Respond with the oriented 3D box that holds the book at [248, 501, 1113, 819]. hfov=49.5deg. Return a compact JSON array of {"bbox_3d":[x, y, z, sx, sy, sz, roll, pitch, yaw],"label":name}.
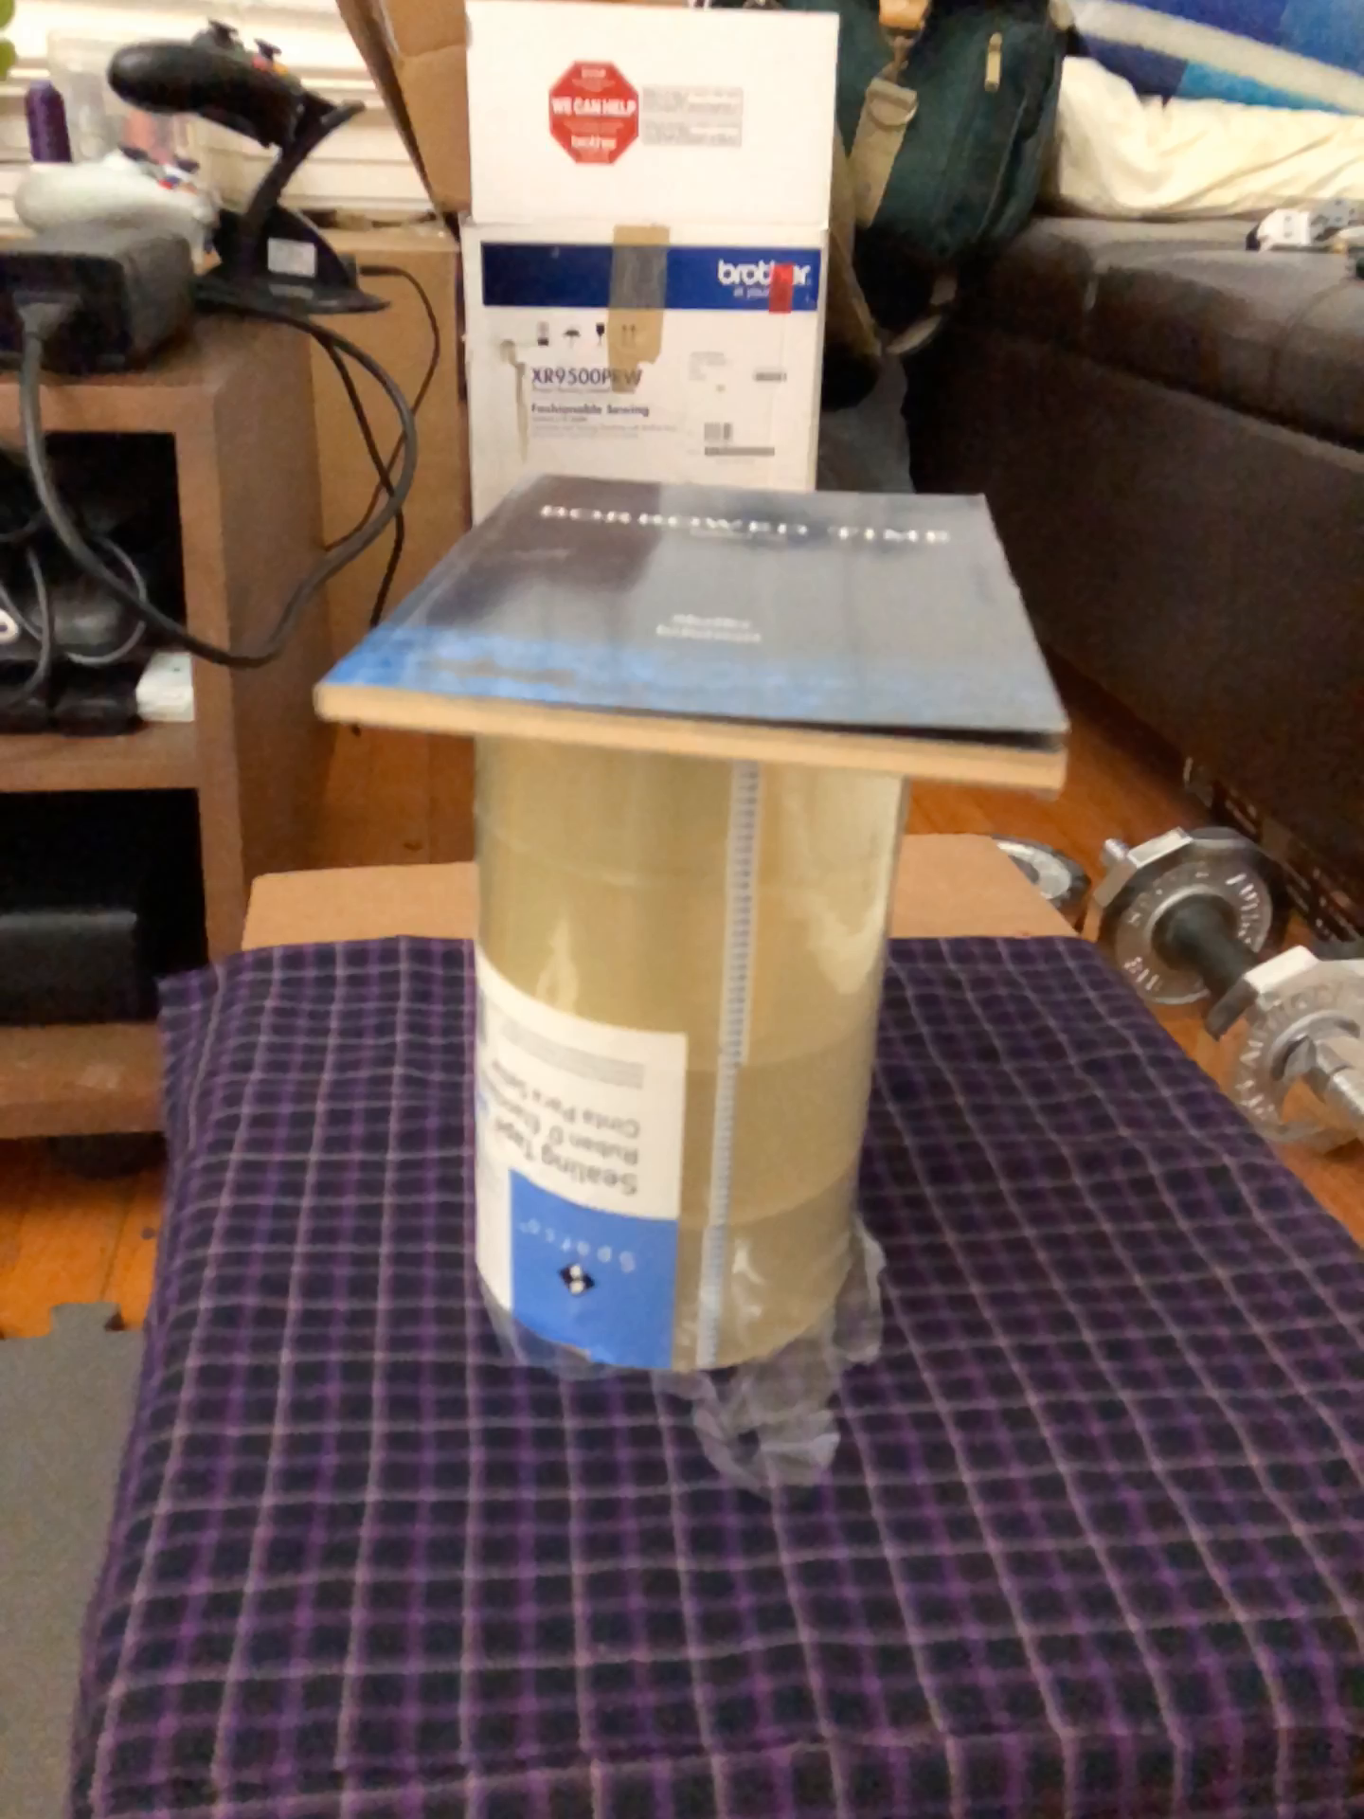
[{"bbox_3d":[0.009,-0.075,0.379,0.160,0.010,0.231,5,25,4],"label":"book"}]
